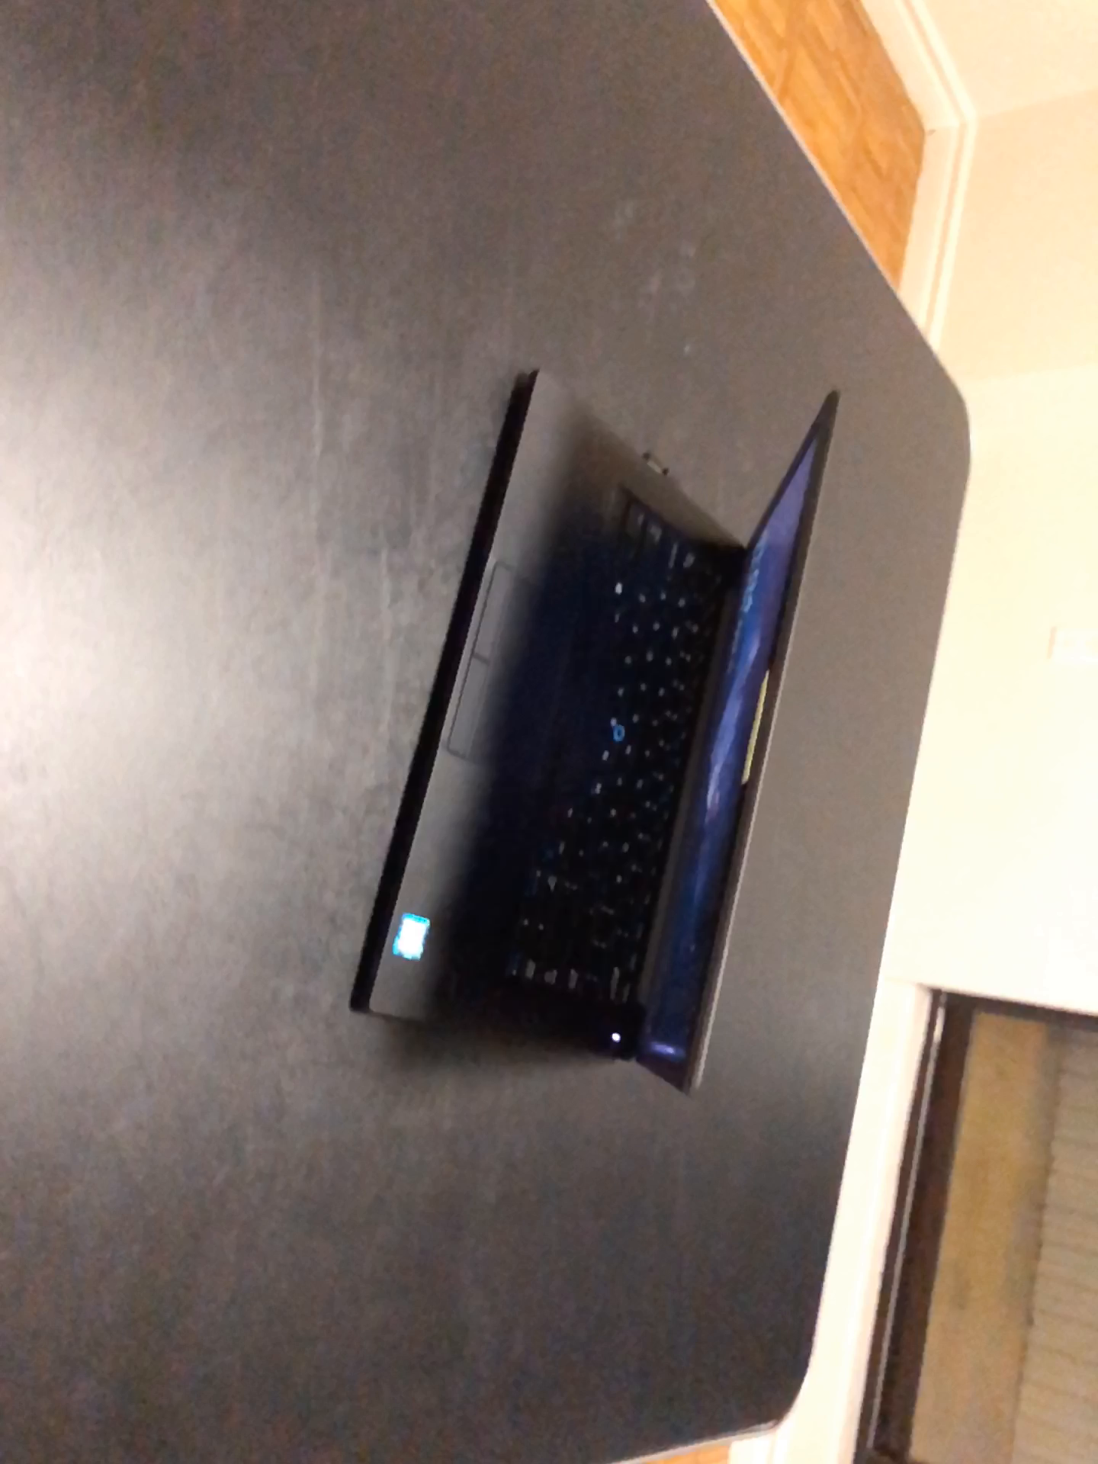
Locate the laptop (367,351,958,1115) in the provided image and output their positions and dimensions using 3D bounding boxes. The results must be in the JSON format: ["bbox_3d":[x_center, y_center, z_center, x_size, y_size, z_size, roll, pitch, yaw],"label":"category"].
[{"bbox_3d":[0.076,0.013,0.623,0.221,0.142,0.318,28,70,-48],"label":"laptop"}]
